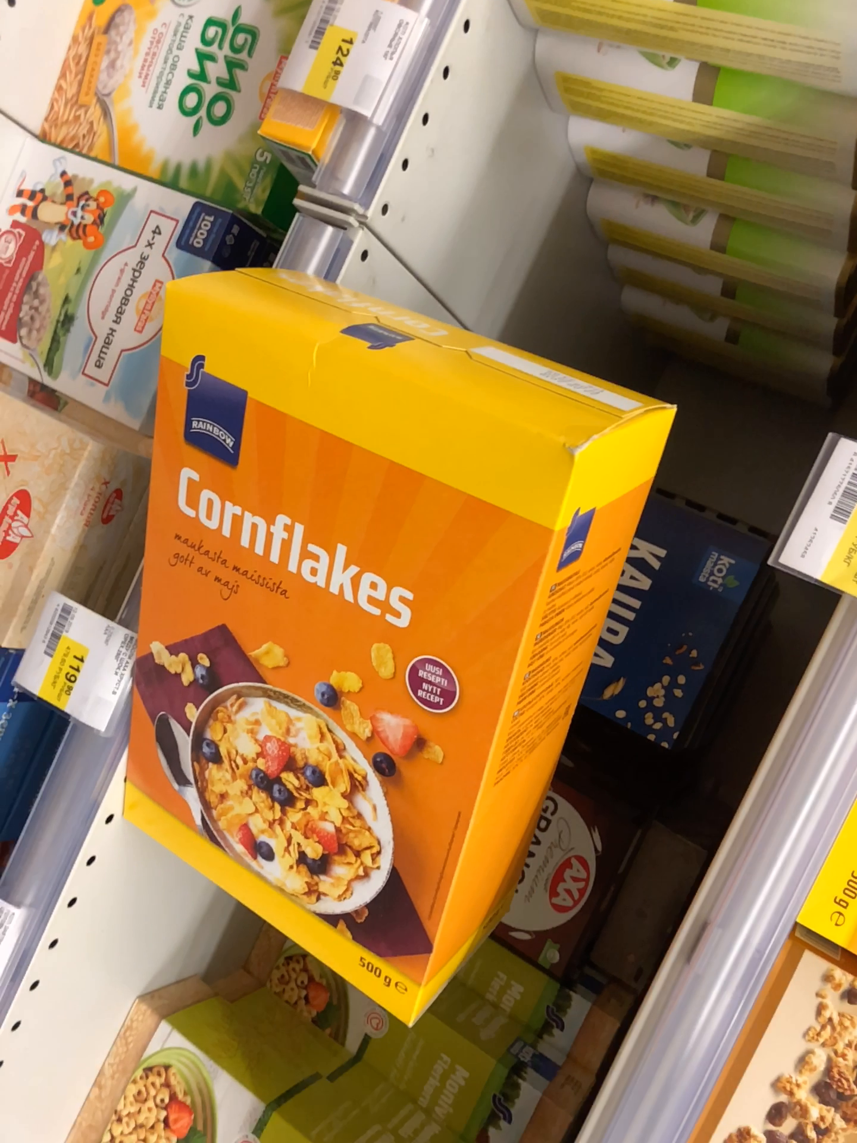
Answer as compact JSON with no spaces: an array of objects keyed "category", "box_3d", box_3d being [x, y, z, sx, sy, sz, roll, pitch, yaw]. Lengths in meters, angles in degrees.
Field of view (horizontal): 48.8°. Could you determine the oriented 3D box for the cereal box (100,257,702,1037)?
[{"category":"cereal box","box_3d":[-0.031,0.027,0.449,0.121,0.199,0.290,-29,139,-53]}]
